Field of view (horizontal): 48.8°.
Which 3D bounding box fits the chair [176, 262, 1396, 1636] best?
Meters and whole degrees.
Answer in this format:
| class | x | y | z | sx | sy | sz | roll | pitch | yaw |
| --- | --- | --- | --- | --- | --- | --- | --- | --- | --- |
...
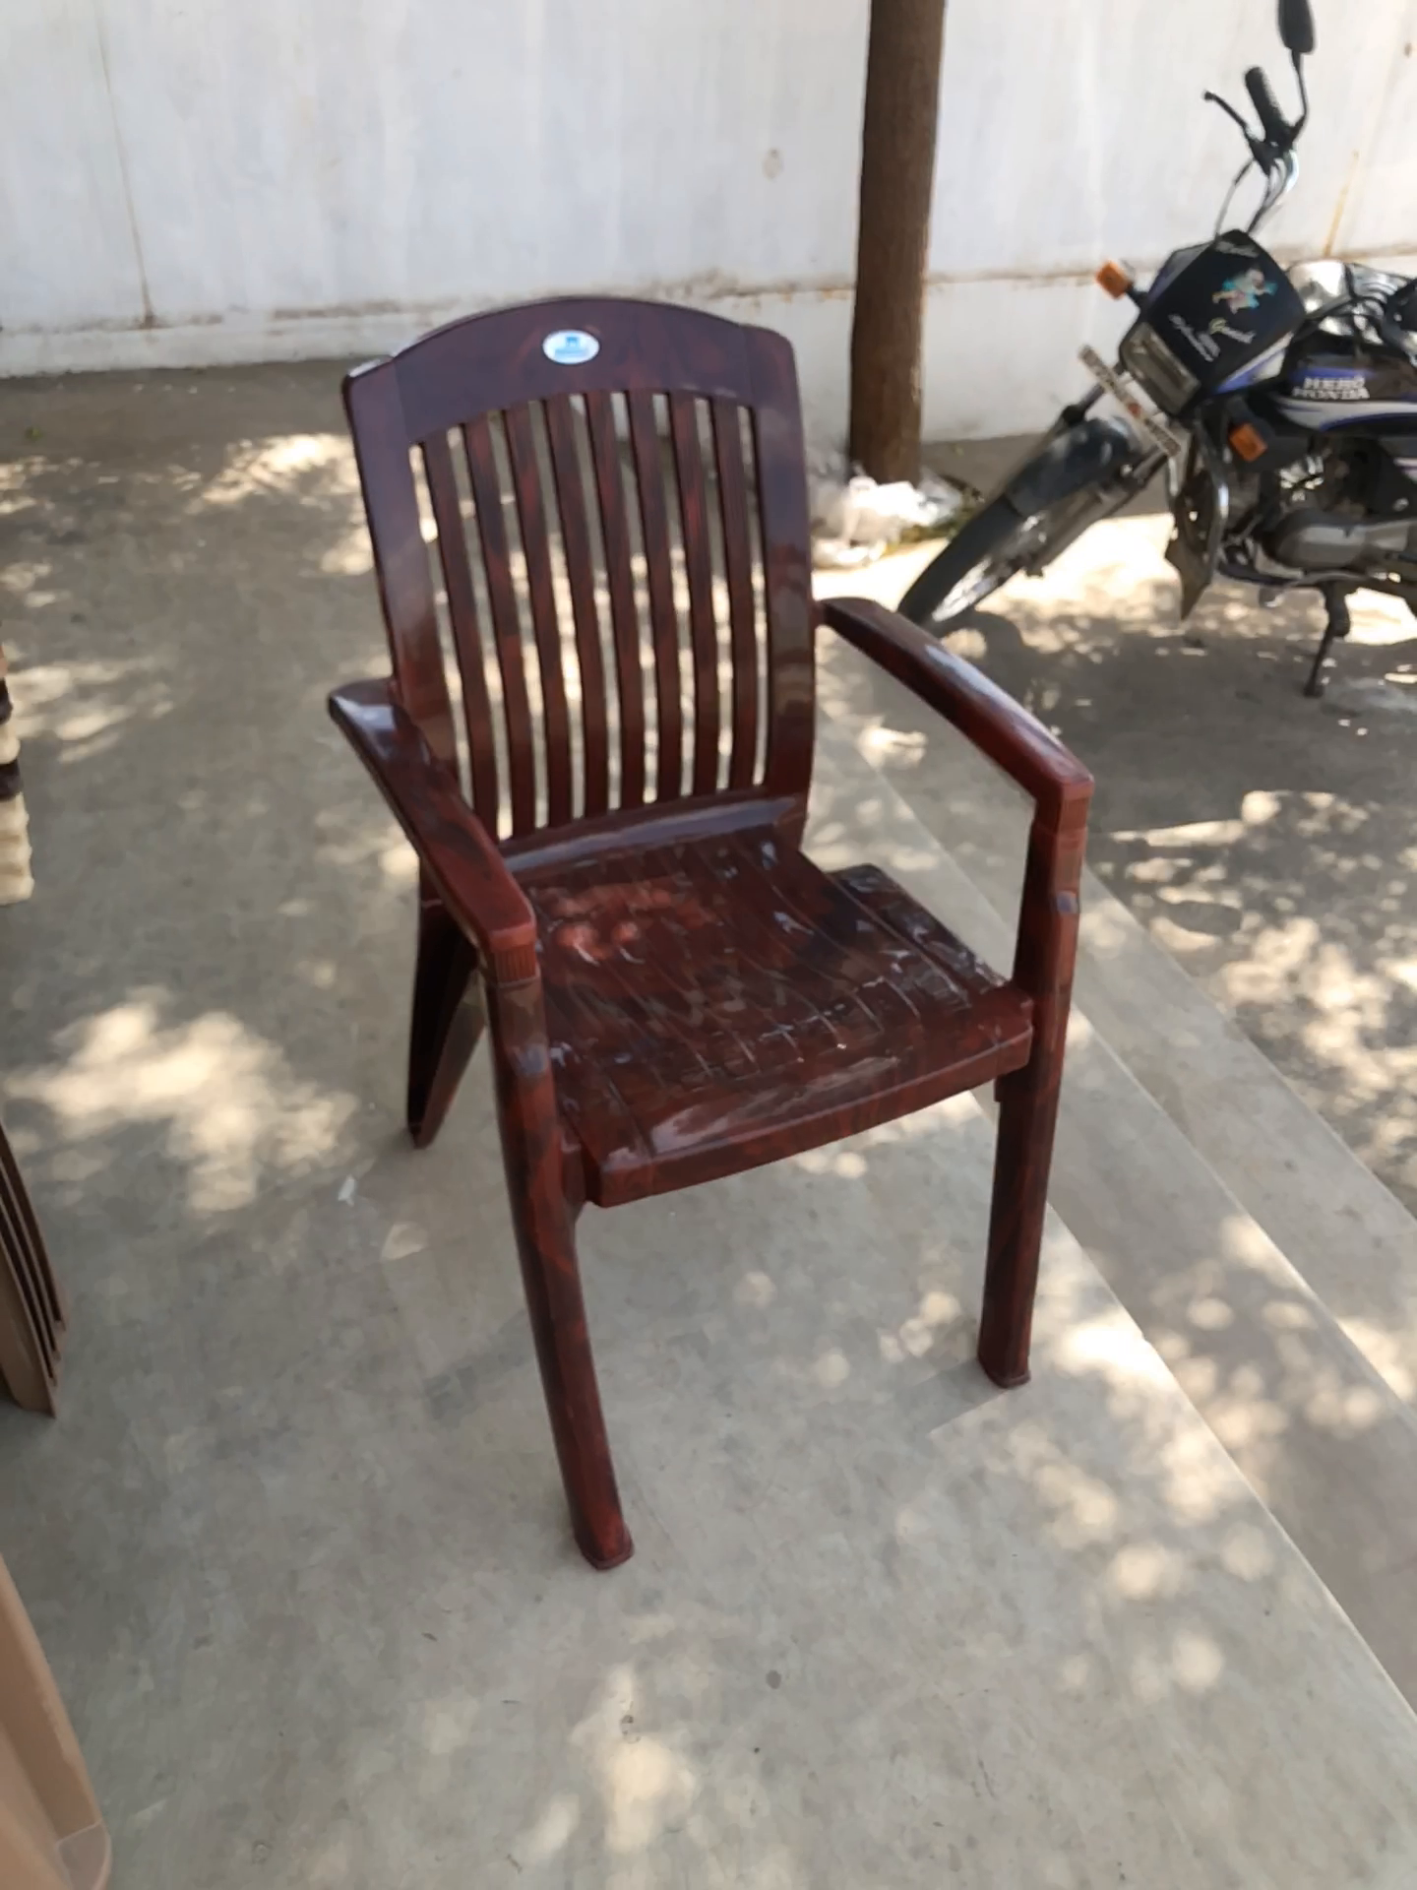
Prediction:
| class | x | y | z | sx | sy | sz | roll | pitch | yaw |
| --- | --- | --- | --- | --- | --- | --- | --- | --- | --- |
| chair | -0.009 | -0.033 | 1.394 | 0.612 | 0.856 | 0.691 | -17 | 44 | -24 |
